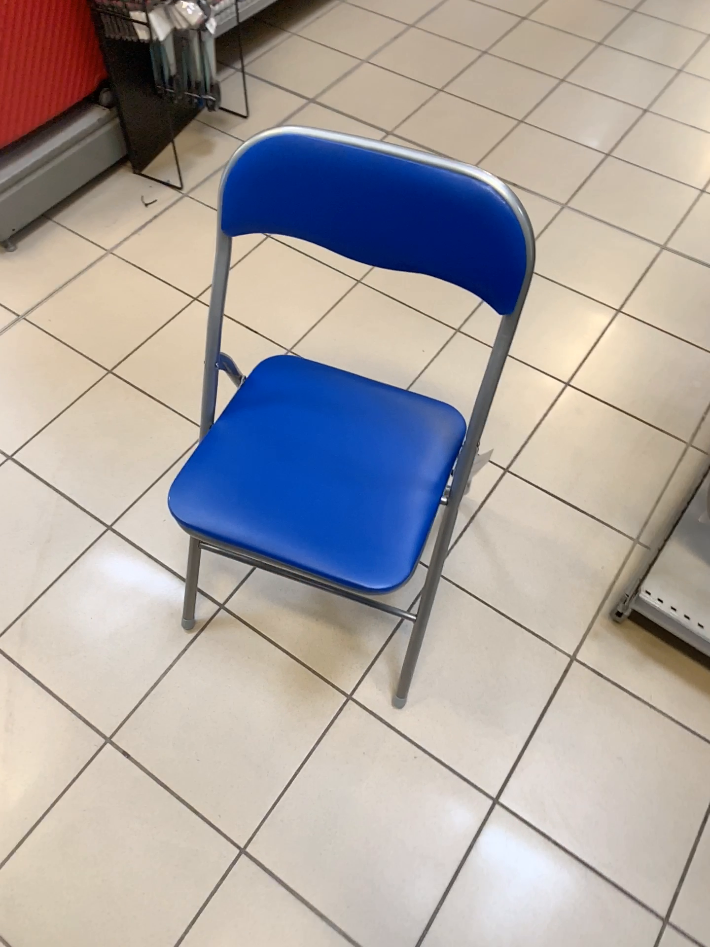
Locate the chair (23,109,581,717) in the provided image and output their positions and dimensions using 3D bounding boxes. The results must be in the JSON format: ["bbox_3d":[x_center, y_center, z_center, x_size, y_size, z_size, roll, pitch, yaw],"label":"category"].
[{"bbox_3d":[-0.030,-0.051,1.110,0.478,0.664,0.526,17,58,10],"label":"chair"}]
